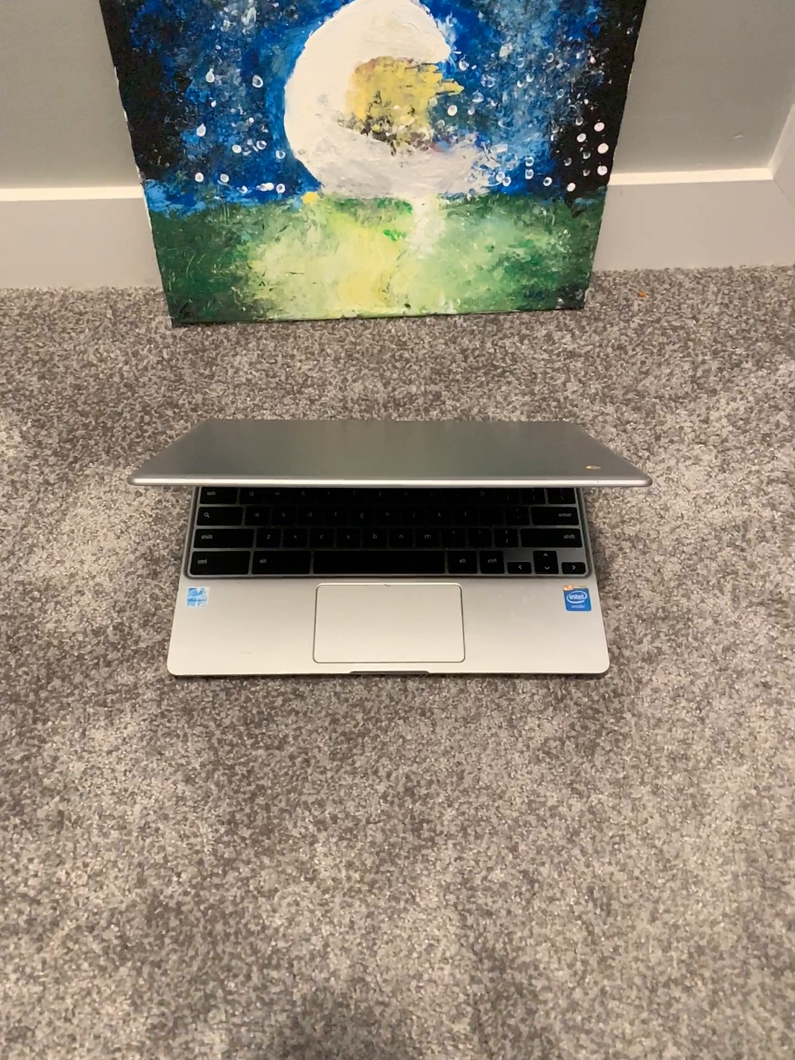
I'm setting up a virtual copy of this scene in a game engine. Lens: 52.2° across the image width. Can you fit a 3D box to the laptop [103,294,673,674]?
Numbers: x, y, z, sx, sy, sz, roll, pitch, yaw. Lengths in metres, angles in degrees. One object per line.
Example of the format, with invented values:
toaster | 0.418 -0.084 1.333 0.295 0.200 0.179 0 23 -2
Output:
laptop | -0.006 -0.028 0.531 0.294 0.144 0.200 0 60 -2
